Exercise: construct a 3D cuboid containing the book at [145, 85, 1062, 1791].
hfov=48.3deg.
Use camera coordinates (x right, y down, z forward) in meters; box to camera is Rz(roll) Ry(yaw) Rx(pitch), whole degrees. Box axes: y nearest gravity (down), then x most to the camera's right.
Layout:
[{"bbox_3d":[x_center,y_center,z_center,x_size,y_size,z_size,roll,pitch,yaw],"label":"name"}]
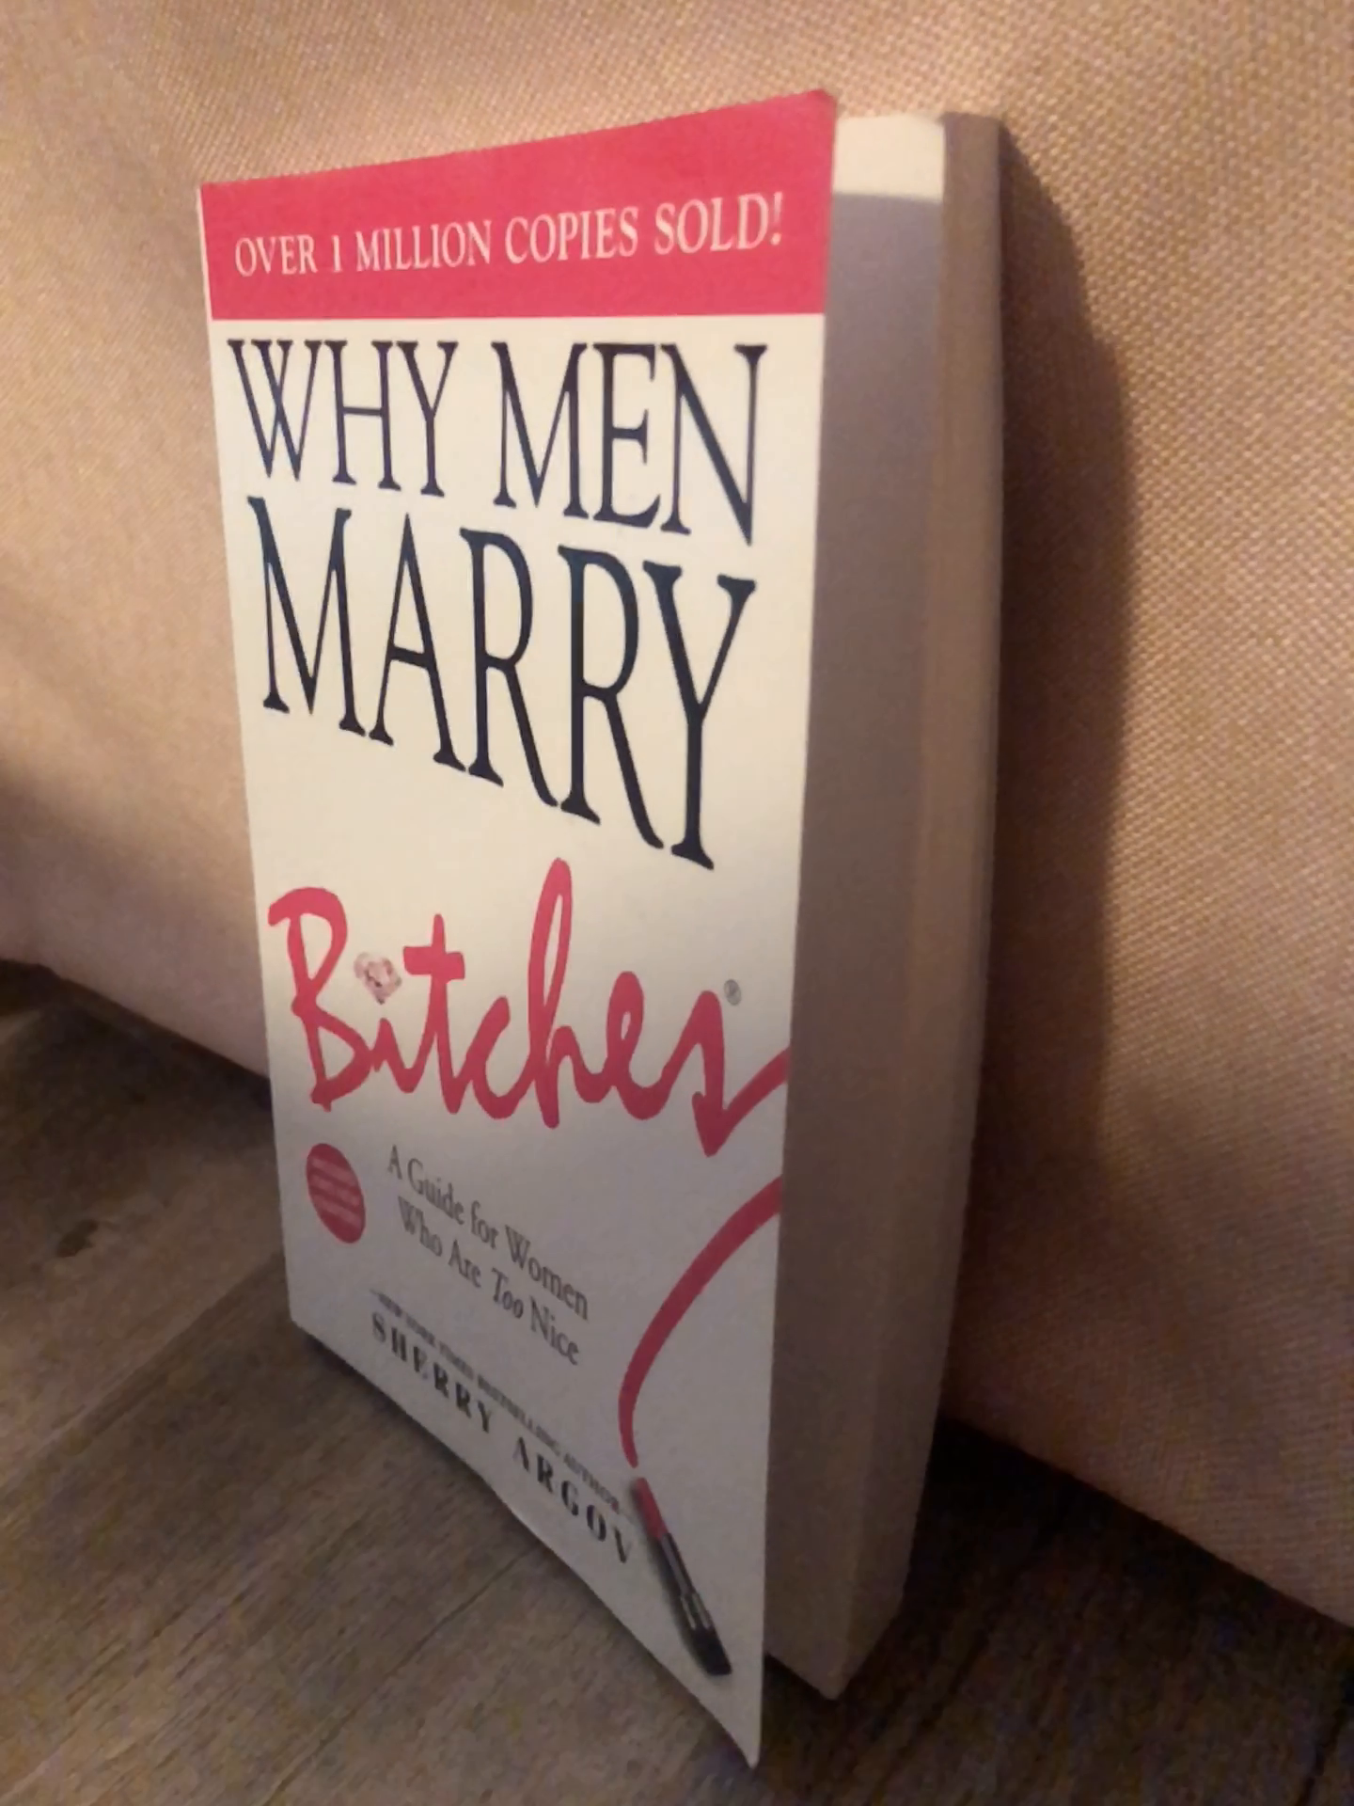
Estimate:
[{"bbox_3d":[-0.024,0.001,0.243,0.037,0.219,0.150,-17,27,-39],"label":"book"}]
